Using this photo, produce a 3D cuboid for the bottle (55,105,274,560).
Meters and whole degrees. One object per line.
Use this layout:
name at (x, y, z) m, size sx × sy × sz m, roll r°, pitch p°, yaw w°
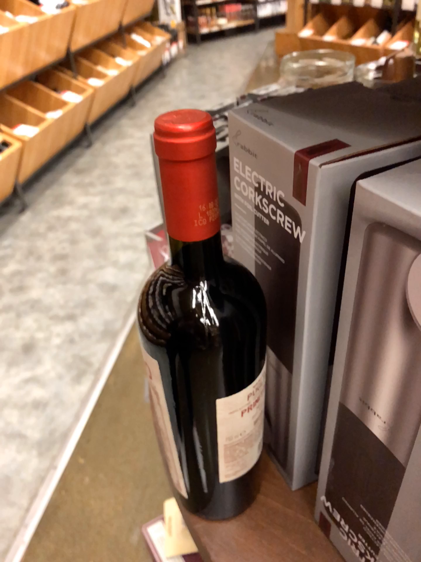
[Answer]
bottle at (-0.007, 0.054, 0.299) m, size 0.072 × 0.299 × 0.072 m, roll -4°, pitch 35°, yaw 3°
